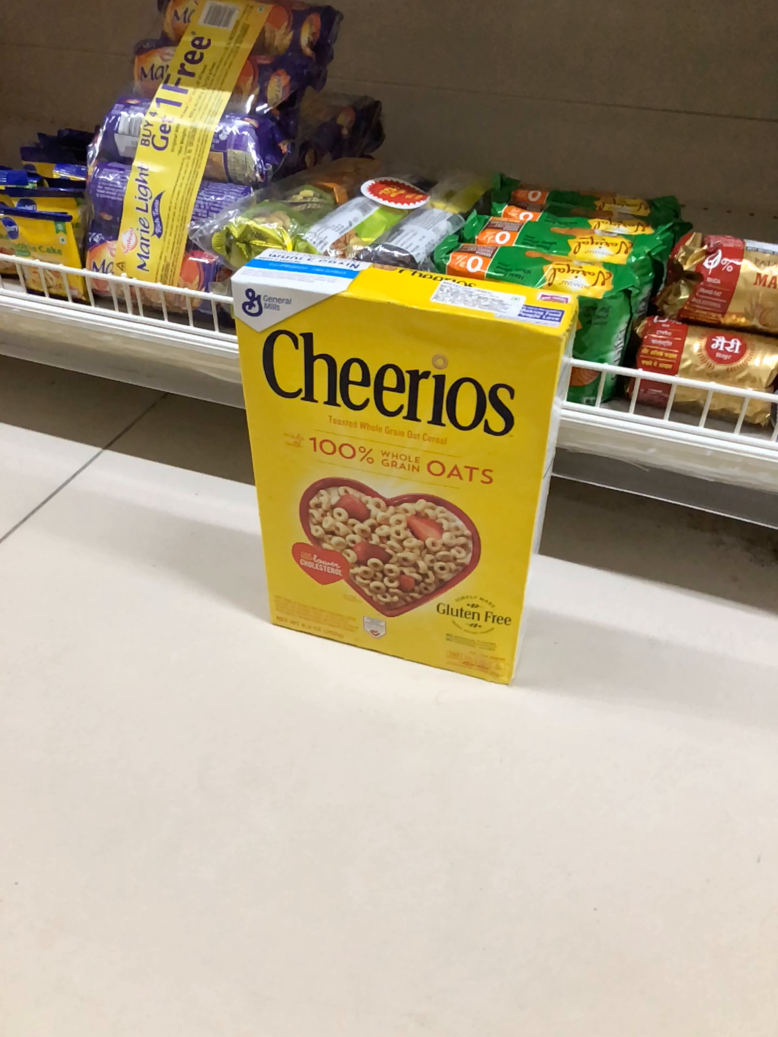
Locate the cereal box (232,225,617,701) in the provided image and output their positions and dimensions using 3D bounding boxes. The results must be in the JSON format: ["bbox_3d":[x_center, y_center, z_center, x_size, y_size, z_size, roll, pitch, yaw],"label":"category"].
[{"bbox_3d":[0.018,-0.024,0.554,0.200,0.288,0.060,13,40,14],"label":"cereal box"}]
